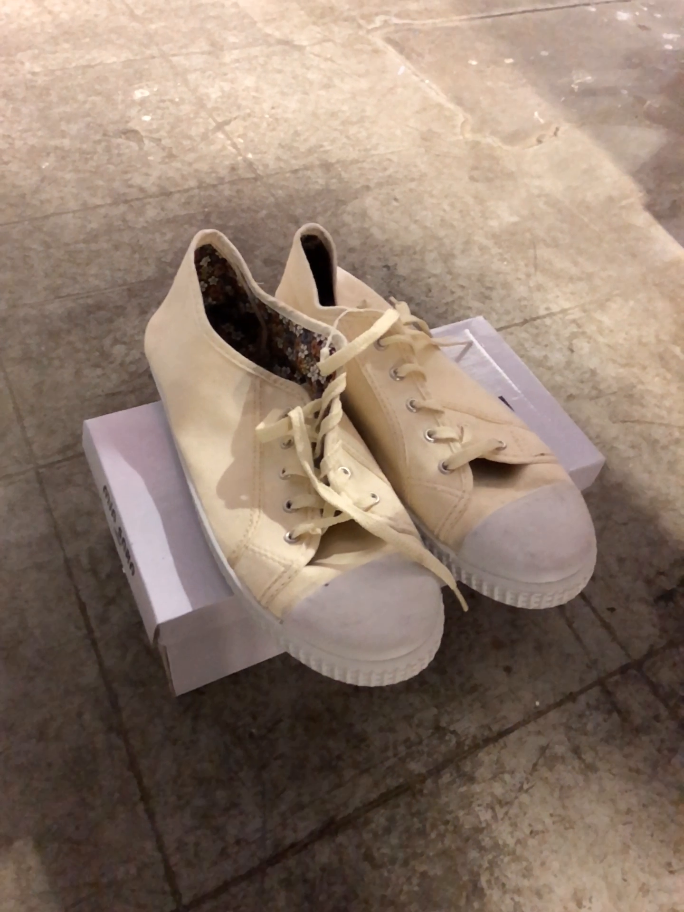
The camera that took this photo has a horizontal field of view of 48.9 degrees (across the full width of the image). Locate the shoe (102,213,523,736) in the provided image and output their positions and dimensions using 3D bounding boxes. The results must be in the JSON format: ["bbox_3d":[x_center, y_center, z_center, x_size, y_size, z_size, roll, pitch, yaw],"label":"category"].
[{"bbox_3d":[-0.032,-0.010,0.383,0.090,0.079,0.261,-19,55,-21],"label":"shoe"}]

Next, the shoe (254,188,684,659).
[{"bbox_3d":[0.050,-0.035,0.407,0.100,0.079,0.251,-19,55,-21],"label":"shoe"}]
